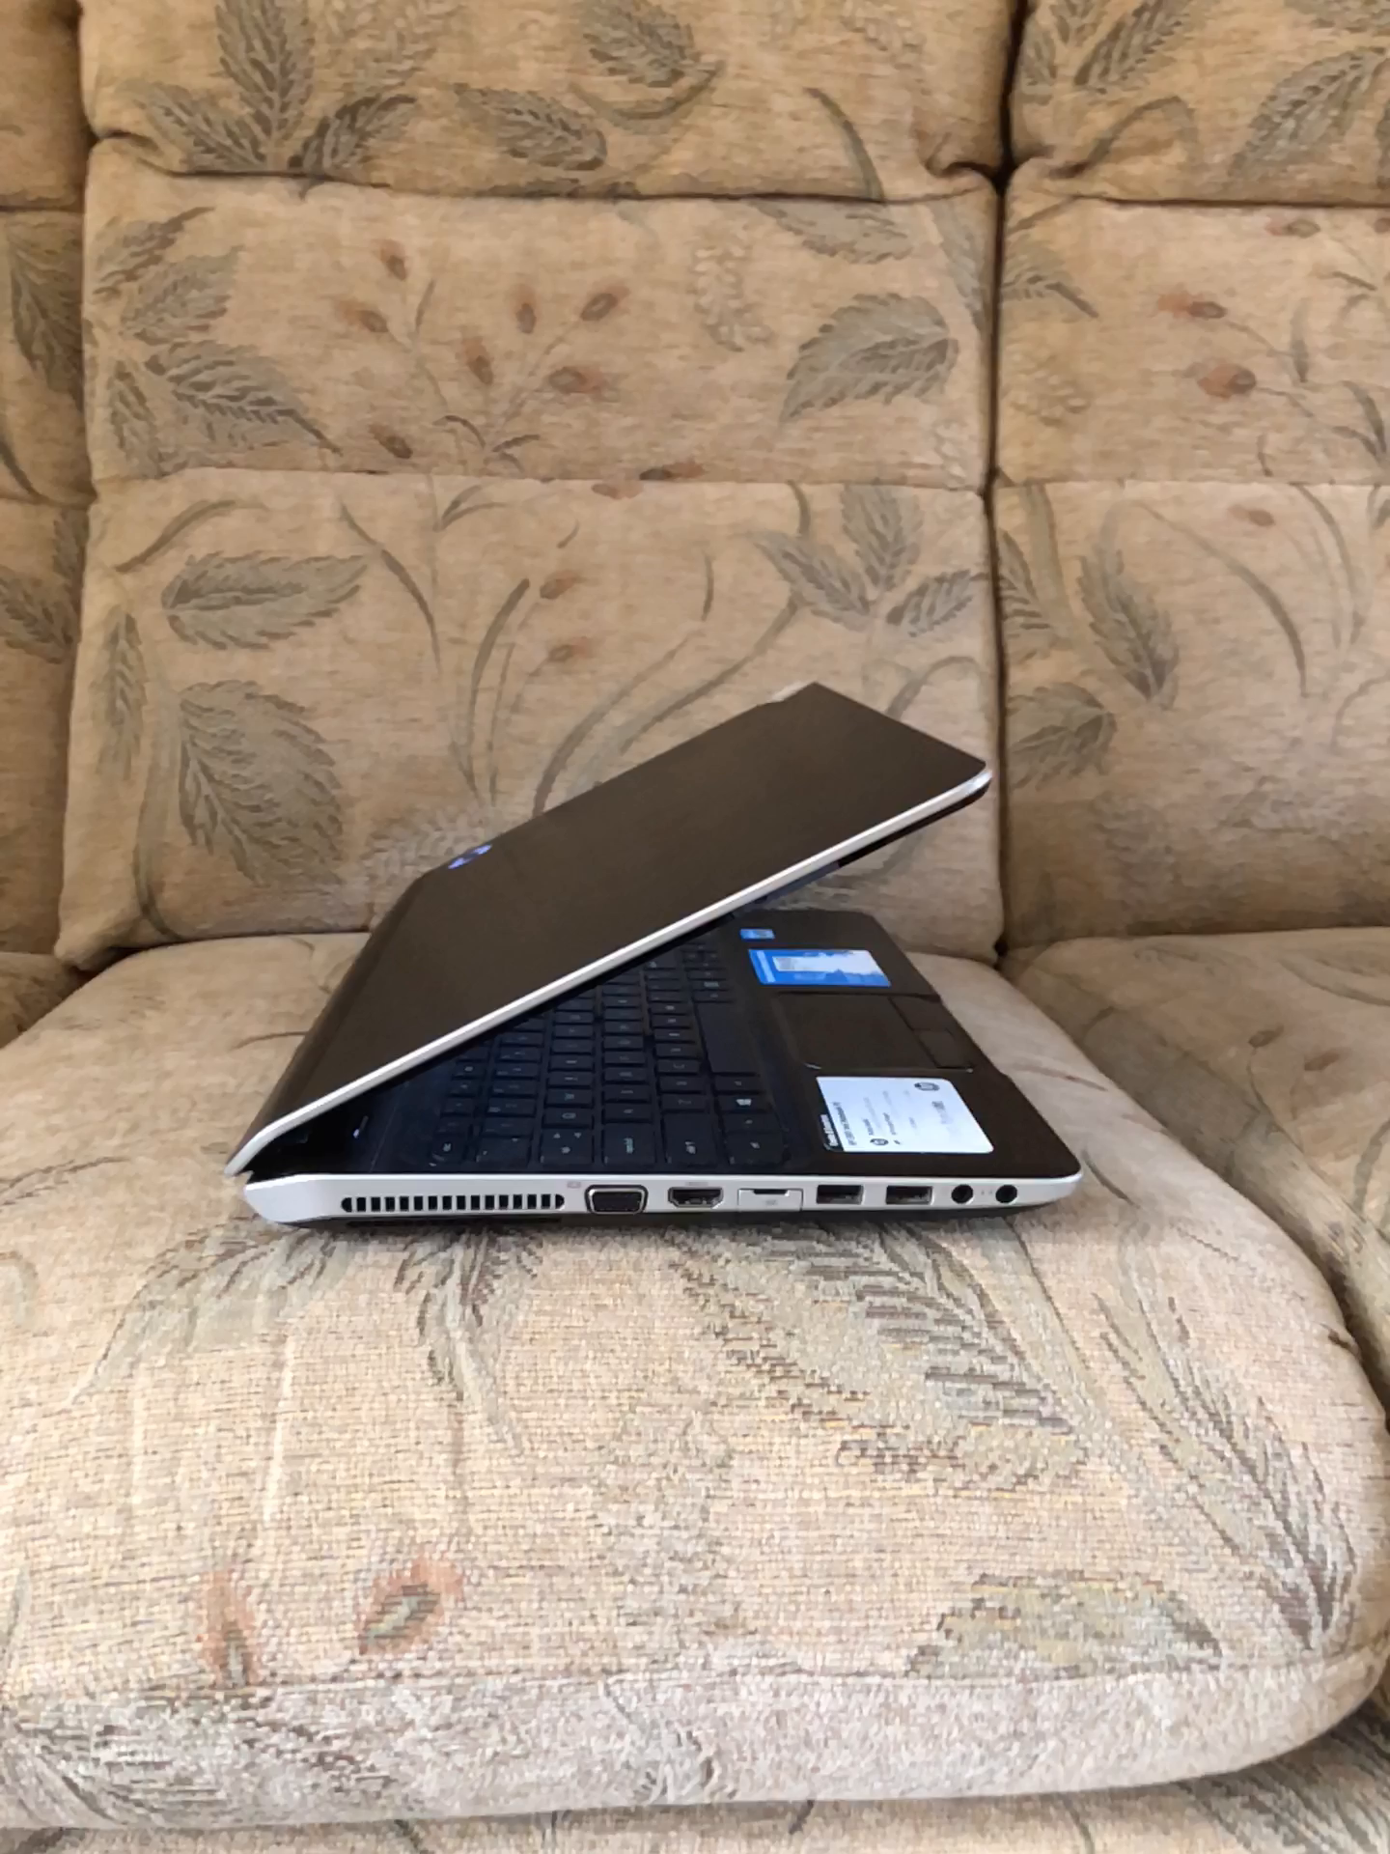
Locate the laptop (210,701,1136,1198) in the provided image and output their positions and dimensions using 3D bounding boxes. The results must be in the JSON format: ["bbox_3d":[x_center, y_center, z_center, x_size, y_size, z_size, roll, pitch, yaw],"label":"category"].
[{"bbox_3d":[-0.015,-0.021,0.634,0.253,0.113,0.398,-1,13,-4],"label":"laptop"}]
